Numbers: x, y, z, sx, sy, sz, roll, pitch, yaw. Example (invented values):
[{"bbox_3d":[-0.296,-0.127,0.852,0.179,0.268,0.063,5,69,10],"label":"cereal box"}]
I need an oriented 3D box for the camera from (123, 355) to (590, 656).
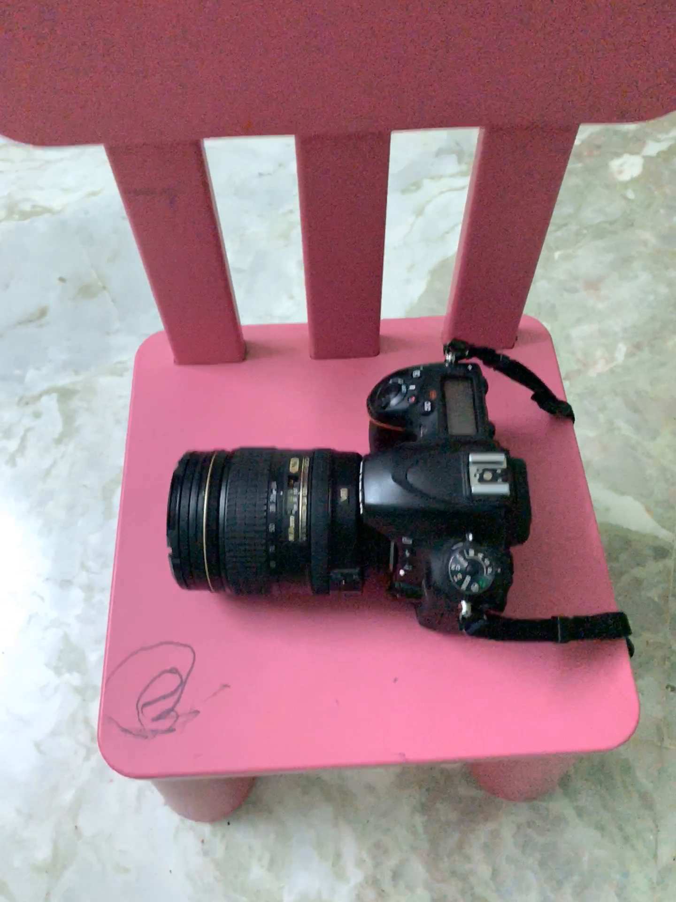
[{"bbox_3d":[0.007,0.031,0.377,0.210,0.080,0.140,-1,65,0],"label":"camera"}]
